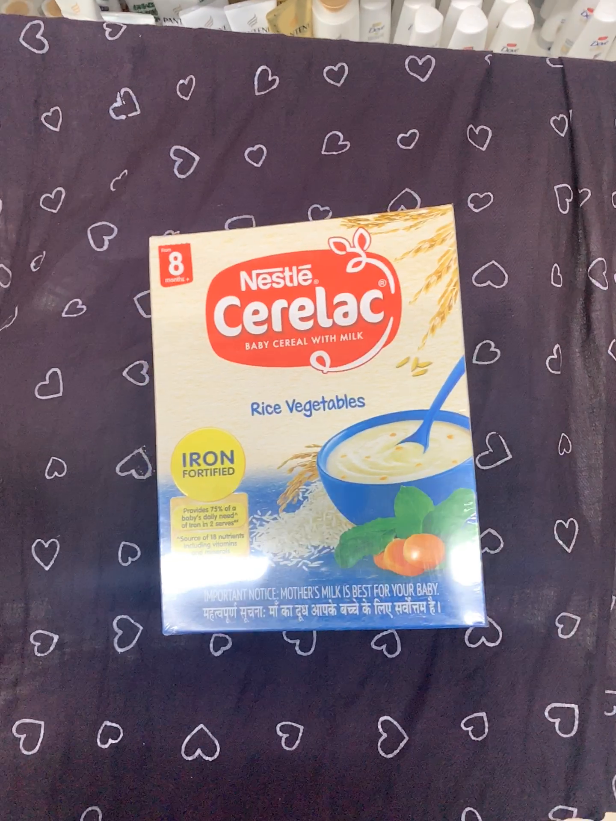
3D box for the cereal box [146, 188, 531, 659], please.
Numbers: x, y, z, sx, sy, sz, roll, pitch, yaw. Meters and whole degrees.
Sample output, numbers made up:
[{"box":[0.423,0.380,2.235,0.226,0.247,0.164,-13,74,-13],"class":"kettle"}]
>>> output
[{"box":[0.009,0.007,0.295,0.150,0.050,0.190,-5,82,6],"class":"cereal box"}]
